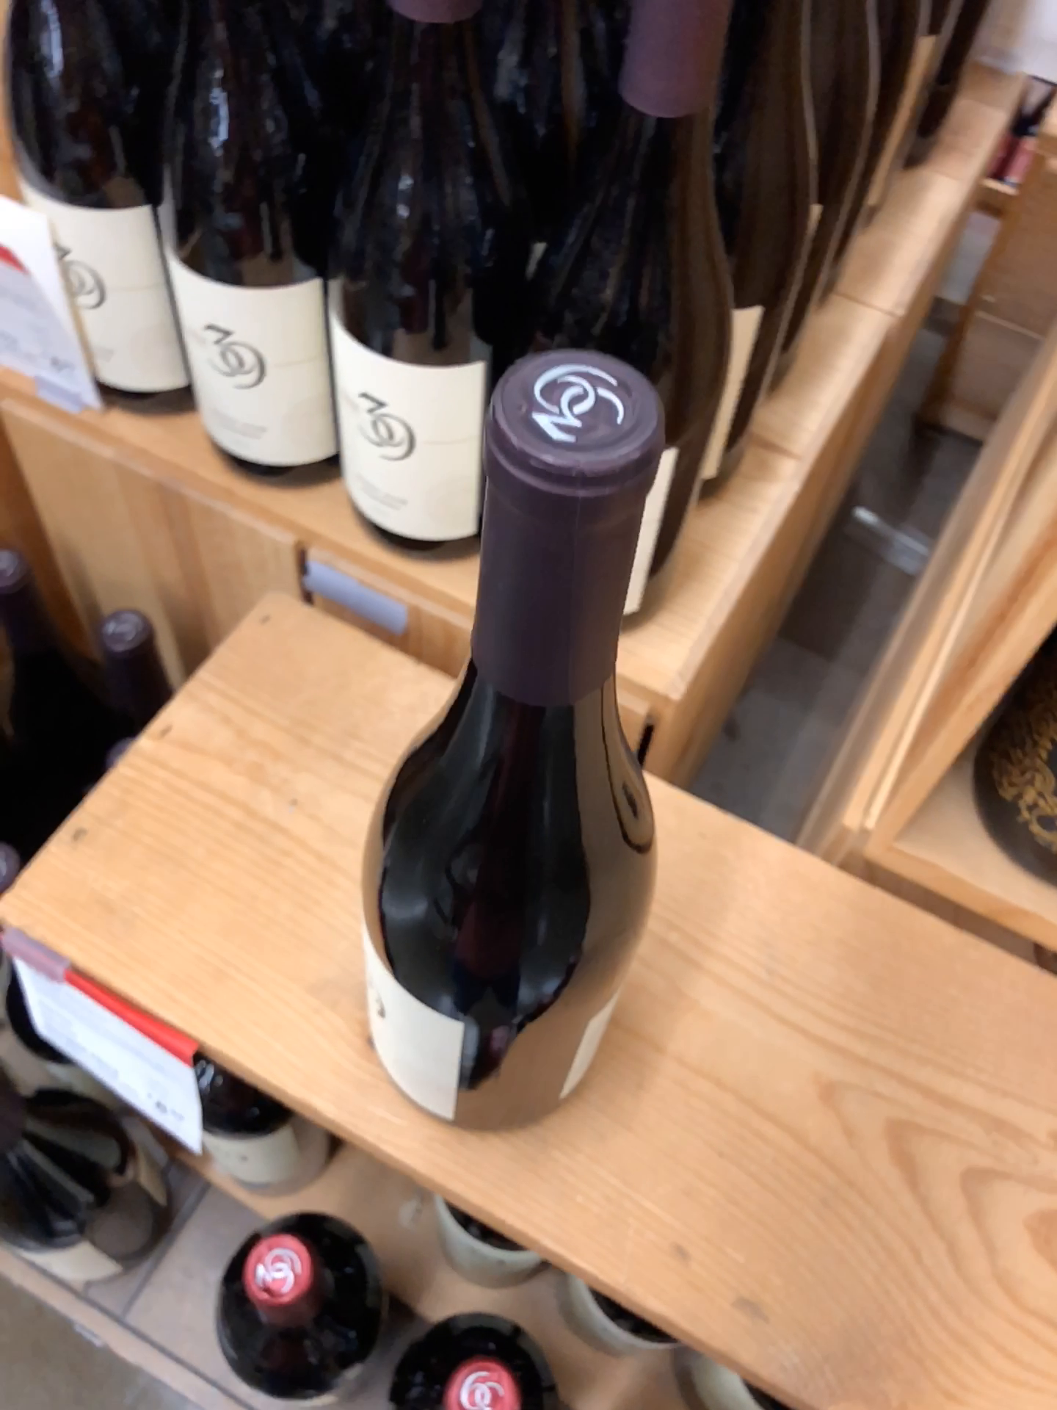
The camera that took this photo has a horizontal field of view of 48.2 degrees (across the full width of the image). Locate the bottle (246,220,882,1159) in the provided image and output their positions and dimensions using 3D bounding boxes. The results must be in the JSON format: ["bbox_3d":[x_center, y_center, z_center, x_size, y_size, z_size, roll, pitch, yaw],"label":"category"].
[{"bbox_3d":[-0.009,0.033,0.290,0.080,0.284,0.080,2,57,-3],"label":"bottle"}]
